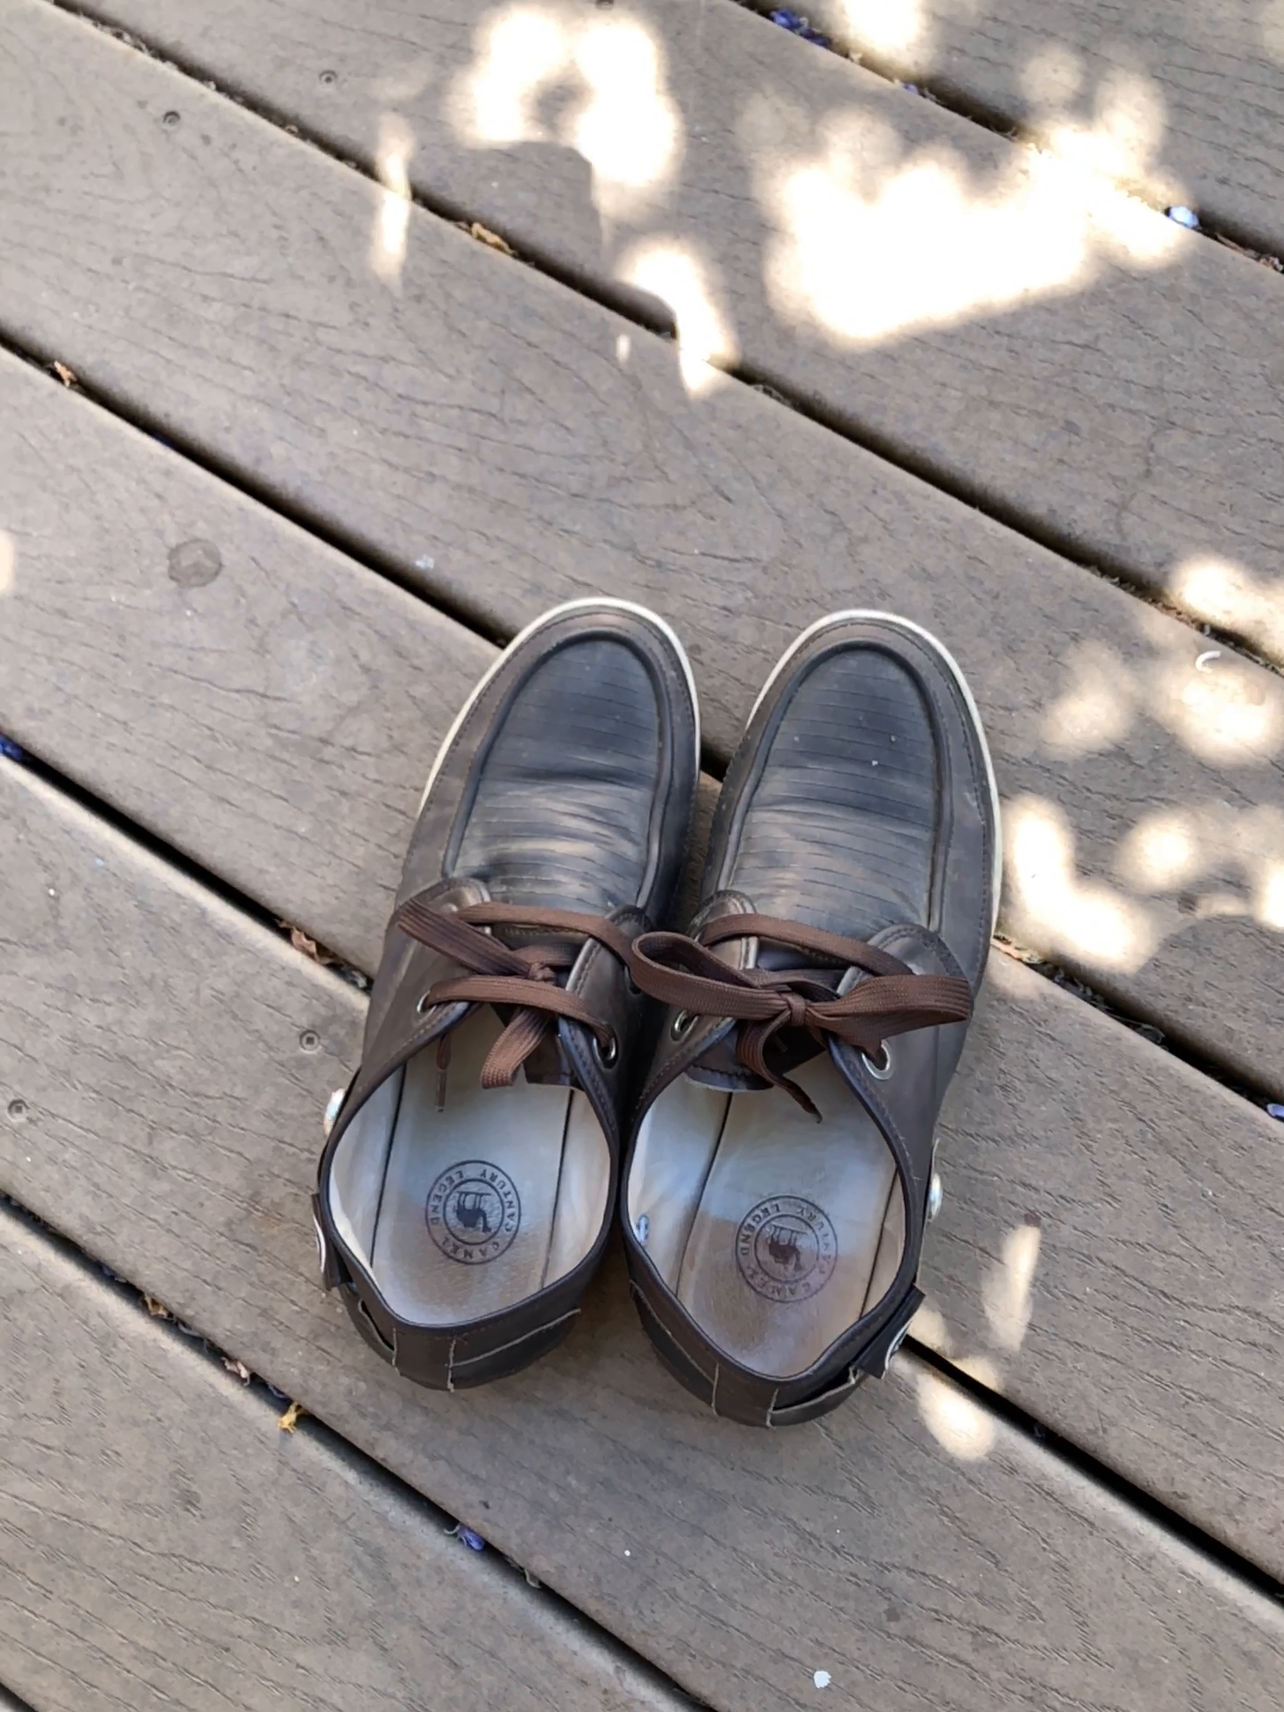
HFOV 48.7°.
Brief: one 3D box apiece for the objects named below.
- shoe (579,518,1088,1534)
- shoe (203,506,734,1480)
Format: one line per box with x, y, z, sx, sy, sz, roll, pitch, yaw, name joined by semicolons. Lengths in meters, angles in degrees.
0.065;0.050;0.478;0.107;0.105;0.289;9;82;7;shoe
-0.048;0.043;0.498;0.107;0.115;0.287;10;82;7;shoe
